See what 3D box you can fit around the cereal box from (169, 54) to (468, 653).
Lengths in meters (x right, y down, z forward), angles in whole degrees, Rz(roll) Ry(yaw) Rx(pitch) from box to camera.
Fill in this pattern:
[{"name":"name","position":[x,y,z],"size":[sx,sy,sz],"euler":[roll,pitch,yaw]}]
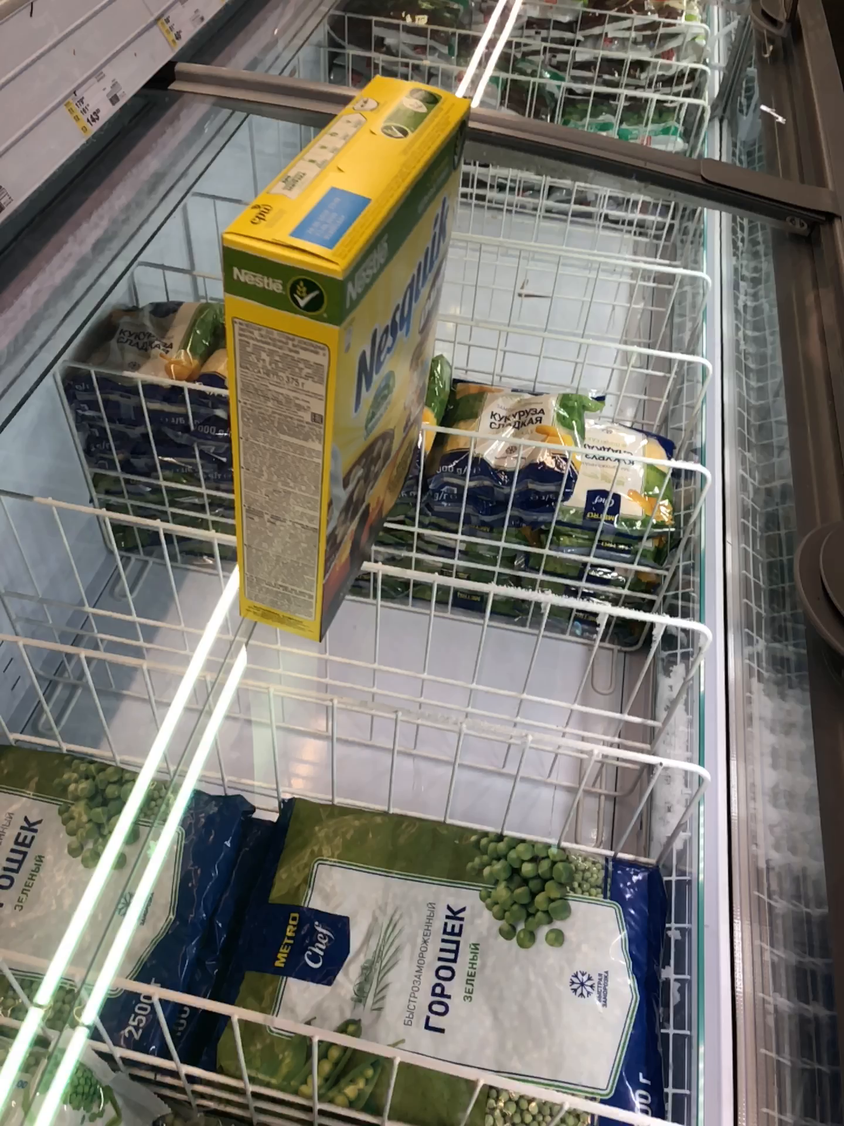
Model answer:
[{"name":"cereal box","position":[-0.055,-0.113,0.554],"size":[0.070,0.278,0.201],"euler":[18,50,8]}]
